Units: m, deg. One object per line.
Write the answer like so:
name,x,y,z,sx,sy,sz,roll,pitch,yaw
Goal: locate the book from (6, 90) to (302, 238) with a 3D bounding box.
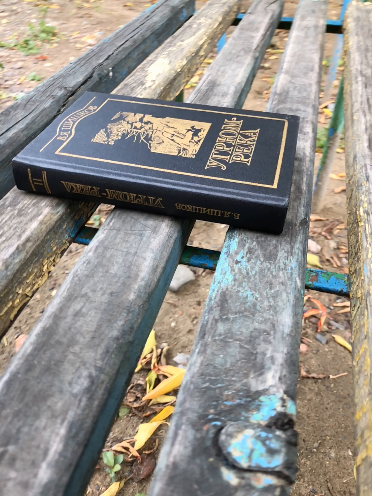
book,-0.015,-0.081,0.347,0.210,0.030,0.138,10,43,10
